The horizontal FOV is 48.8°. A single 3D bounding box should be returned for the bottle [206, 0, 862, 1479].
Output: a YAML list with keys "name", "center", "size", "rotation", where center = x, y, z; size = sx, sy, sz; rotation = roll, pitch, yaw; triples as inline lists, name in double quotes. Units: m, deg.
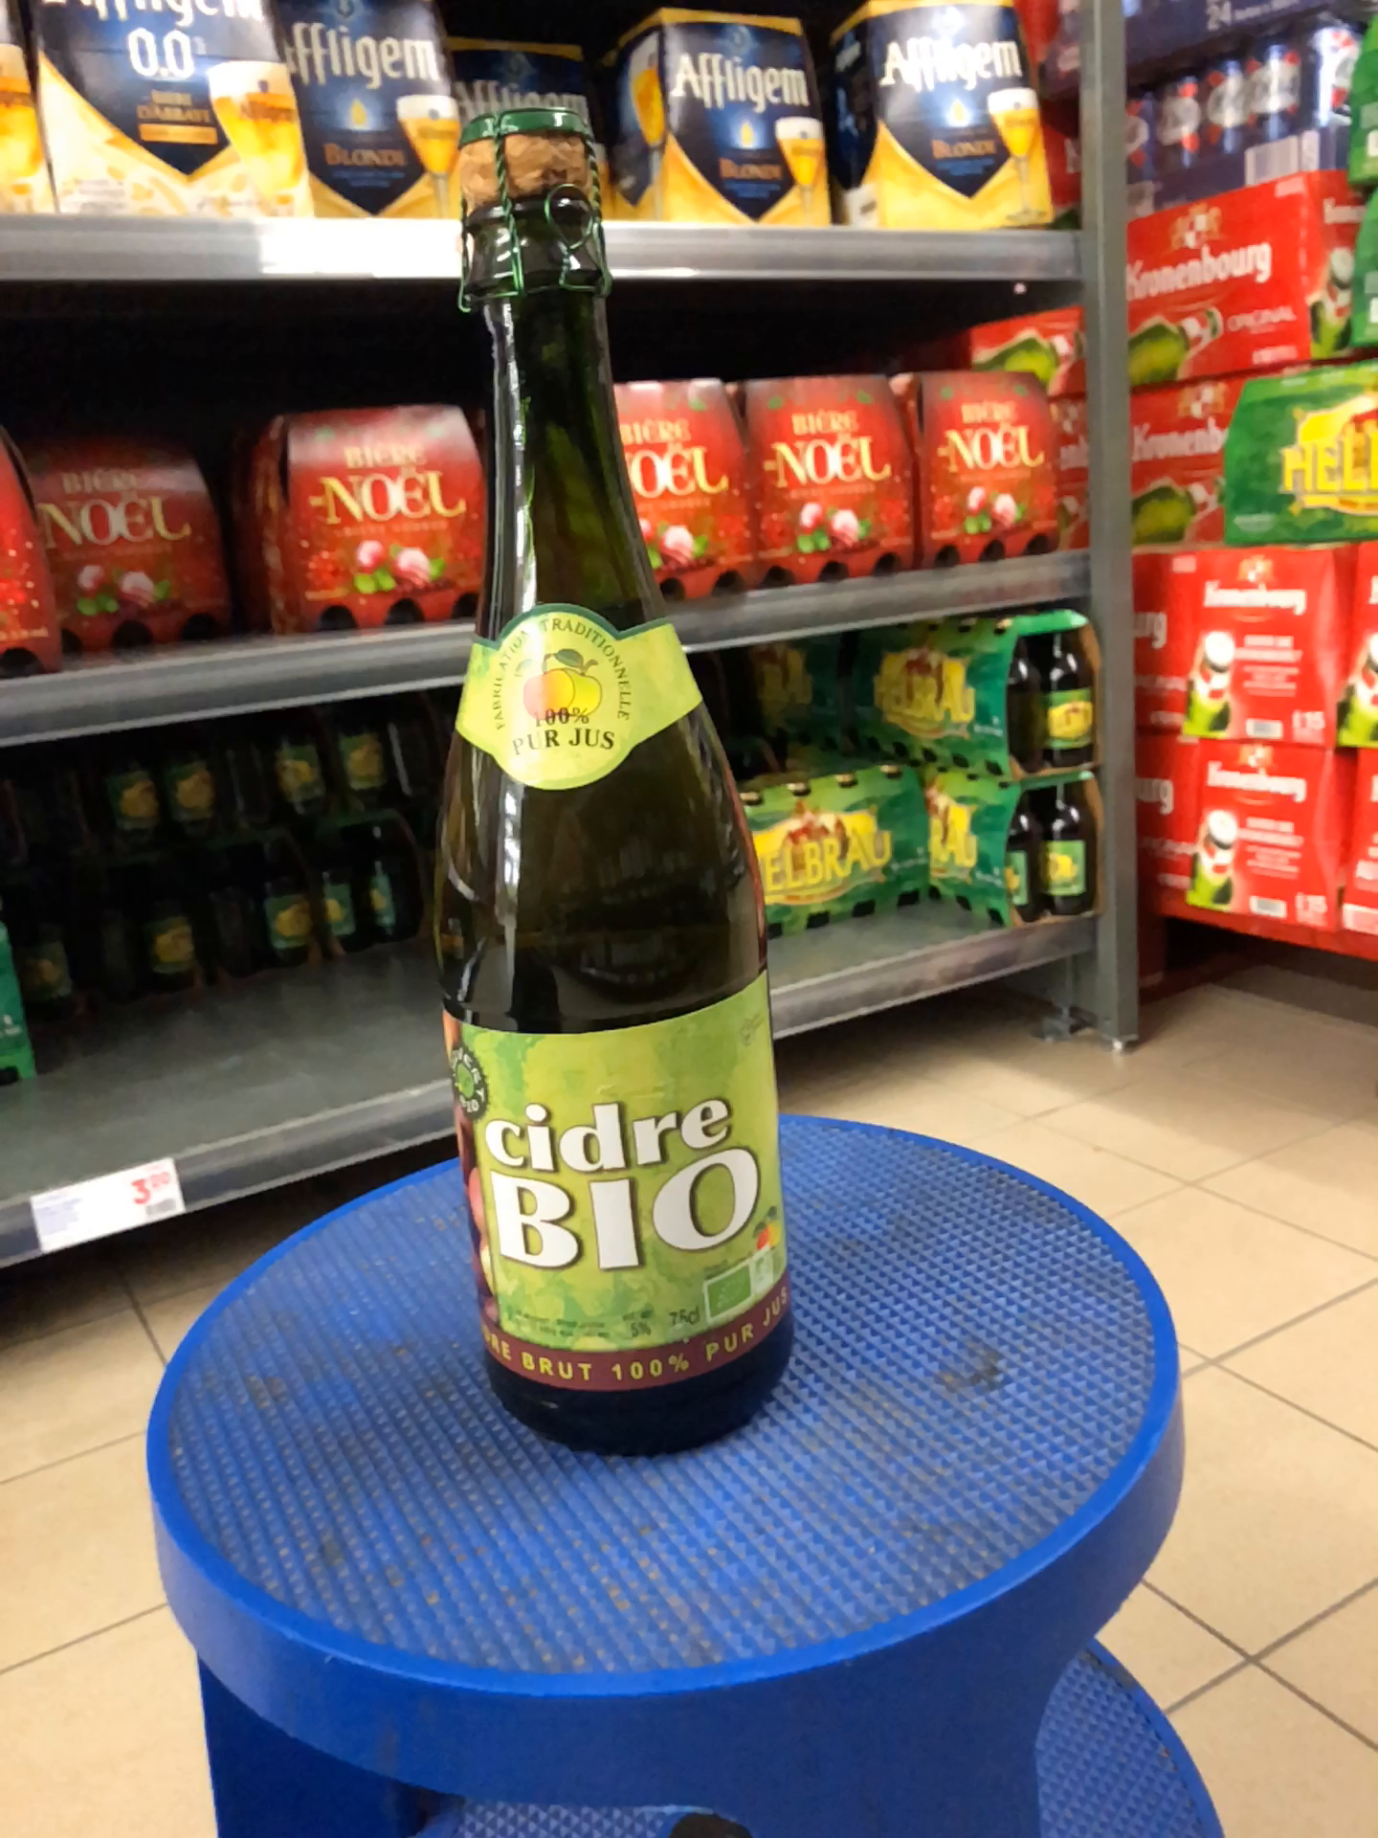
- name: "bottle"
  center: [-0.023, -0.031, 0.352]
  size: [0.090, 0.289, 0.090]
  rotation: [-5, 14, 1]
